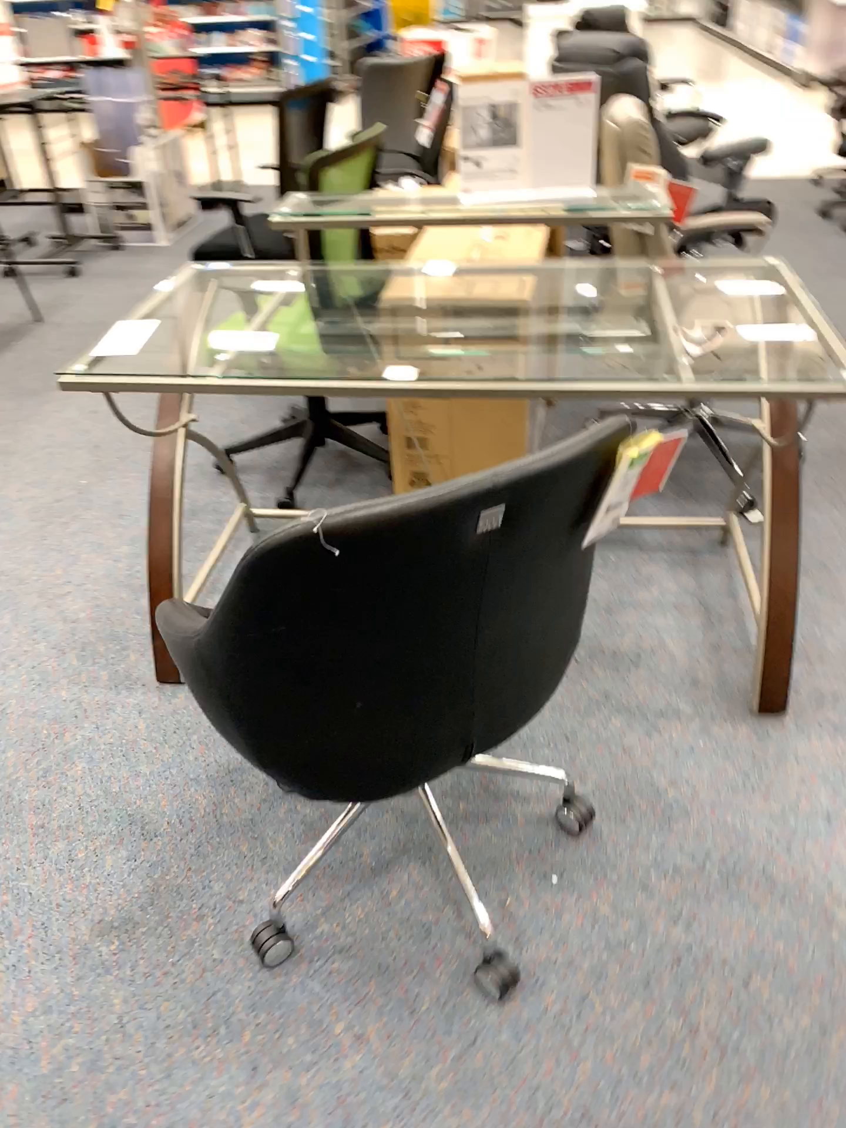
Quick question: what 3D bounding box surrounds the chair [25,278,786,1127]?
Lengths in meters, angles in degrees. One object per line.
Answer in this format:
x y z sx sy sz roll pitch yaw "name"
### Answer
-0.040 0.148 1.262 0.658 0.844 0.657 -22 39 -25 "chair"
